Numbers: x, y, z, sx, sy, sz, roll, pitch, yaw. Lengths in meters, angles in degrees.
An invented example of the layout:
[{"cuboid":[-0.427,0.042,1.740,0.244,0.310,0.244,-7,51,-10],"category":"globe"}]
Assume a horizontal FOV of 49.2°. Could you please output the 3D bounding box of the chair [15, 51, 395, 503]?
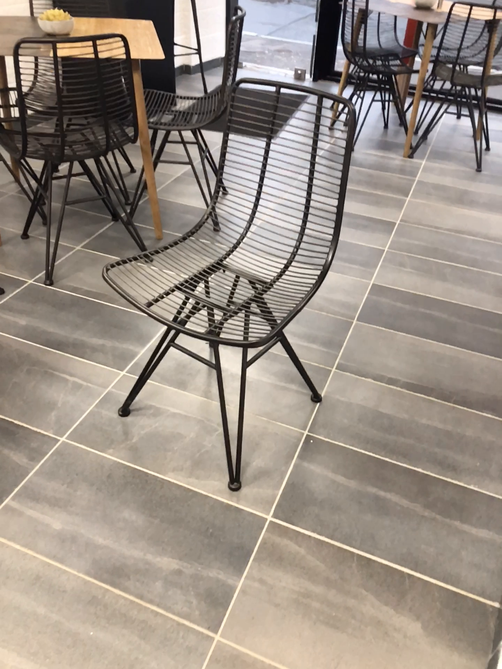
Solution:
[{"cuboid":[-0.082,-0.153,1.280,0.500,0.785,0.523,26,43,27],"category":"chair"}]
